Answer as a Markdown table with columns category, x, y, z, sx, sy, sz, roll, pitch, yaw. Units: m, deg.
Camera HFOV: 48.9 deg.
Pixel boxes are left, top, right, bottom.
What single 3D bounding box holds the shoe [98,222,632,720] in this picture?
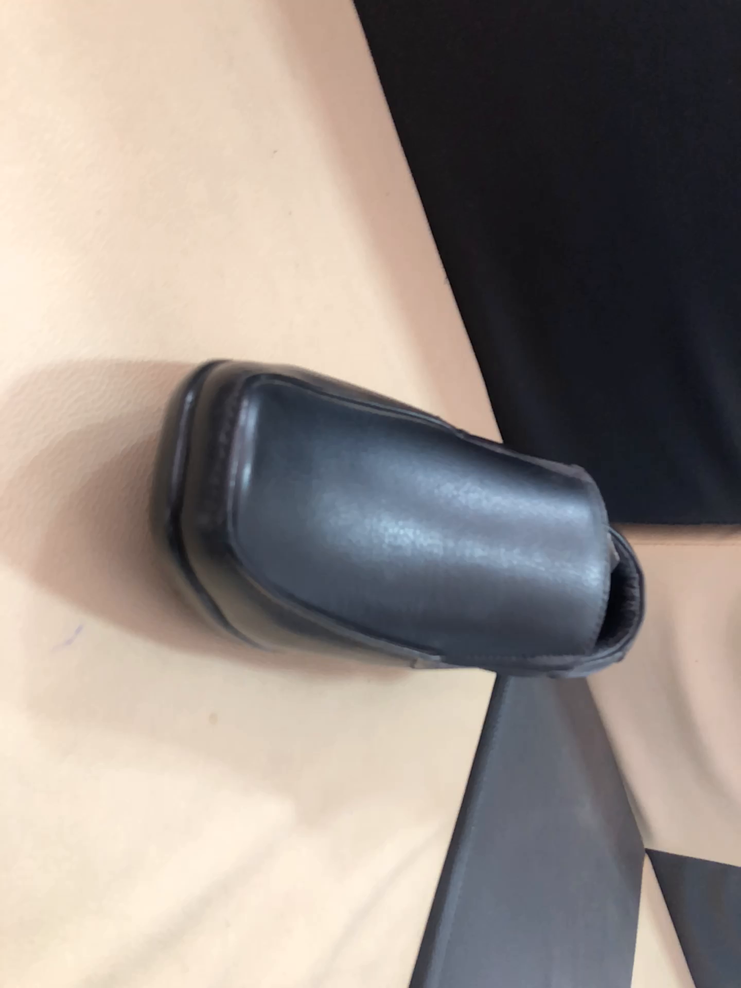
| category | x | y | z | sx | sy | sz | roll | pitch | yaw |
| --- | --- | --- | --- | --- | --- | --- | --- | --- | --- |
| shoe | 0.036 | 0.025 | 0.317 | 0.282 | 0.069 | 0.110 | 28 | 64 | -58 |
